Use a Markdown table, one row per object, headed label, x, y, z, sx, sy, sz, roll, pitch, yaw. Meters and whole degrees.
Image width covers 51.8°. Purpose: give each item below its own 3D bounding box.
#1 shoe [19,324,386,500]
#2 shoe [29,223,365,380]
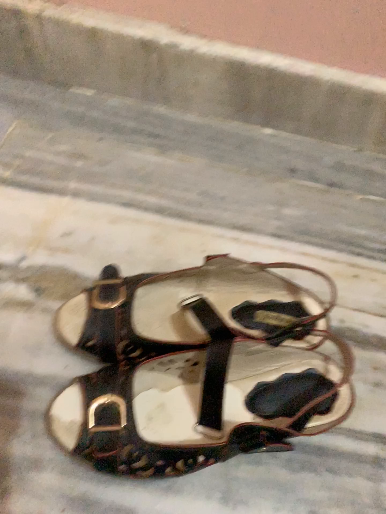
| label | x | y | z | sx | sy | sz | roll | pitch | yaw |
| --- | --- | --- | --- | --- | --- | --- | --- | --- | --- |
| shoe | 0.015 | 0.122 | 0.319 | 0.260 | 0.100 | 0.100 | 2 | 55 | -11 |
| shoe | 0.000 | 0.046 | 0.369 | 0.260 | 0.100 | 0.100 | 2 | 55 | -11 |
